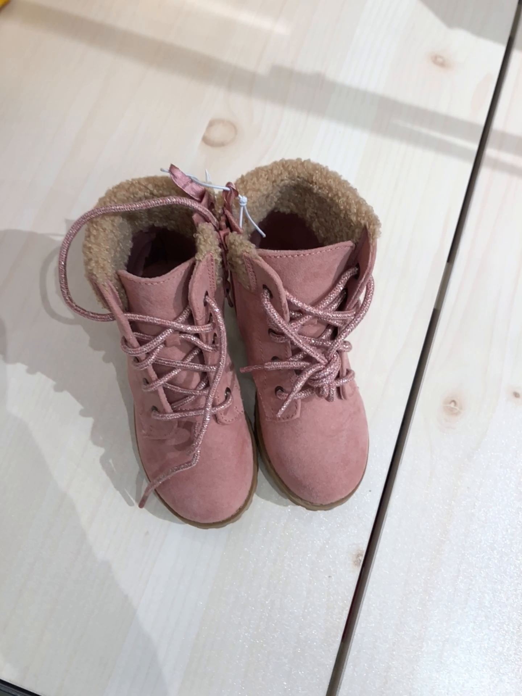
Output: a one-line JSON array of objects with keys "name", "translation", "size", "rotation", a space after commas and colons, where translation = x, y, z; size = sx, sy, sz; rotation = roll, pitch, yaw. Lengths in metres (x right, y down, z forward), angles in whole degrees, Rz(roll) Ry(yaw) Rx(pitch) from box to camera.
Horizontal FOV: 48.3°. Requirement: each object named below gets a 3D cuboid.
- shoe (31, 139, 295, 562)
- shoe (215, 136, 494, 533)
[{"name": "shoe", "translation": [-0.045, 0.009, 0.284], "size": [0.080, 0.120, 0.160], "rotation": [-10, 74, -5]}, {"name": "shoe", "translation": [0.032, 0.003, 0.297], "size": [0.080, 0.120, 0.160], "rotation": [-10, 74, -5]}]
